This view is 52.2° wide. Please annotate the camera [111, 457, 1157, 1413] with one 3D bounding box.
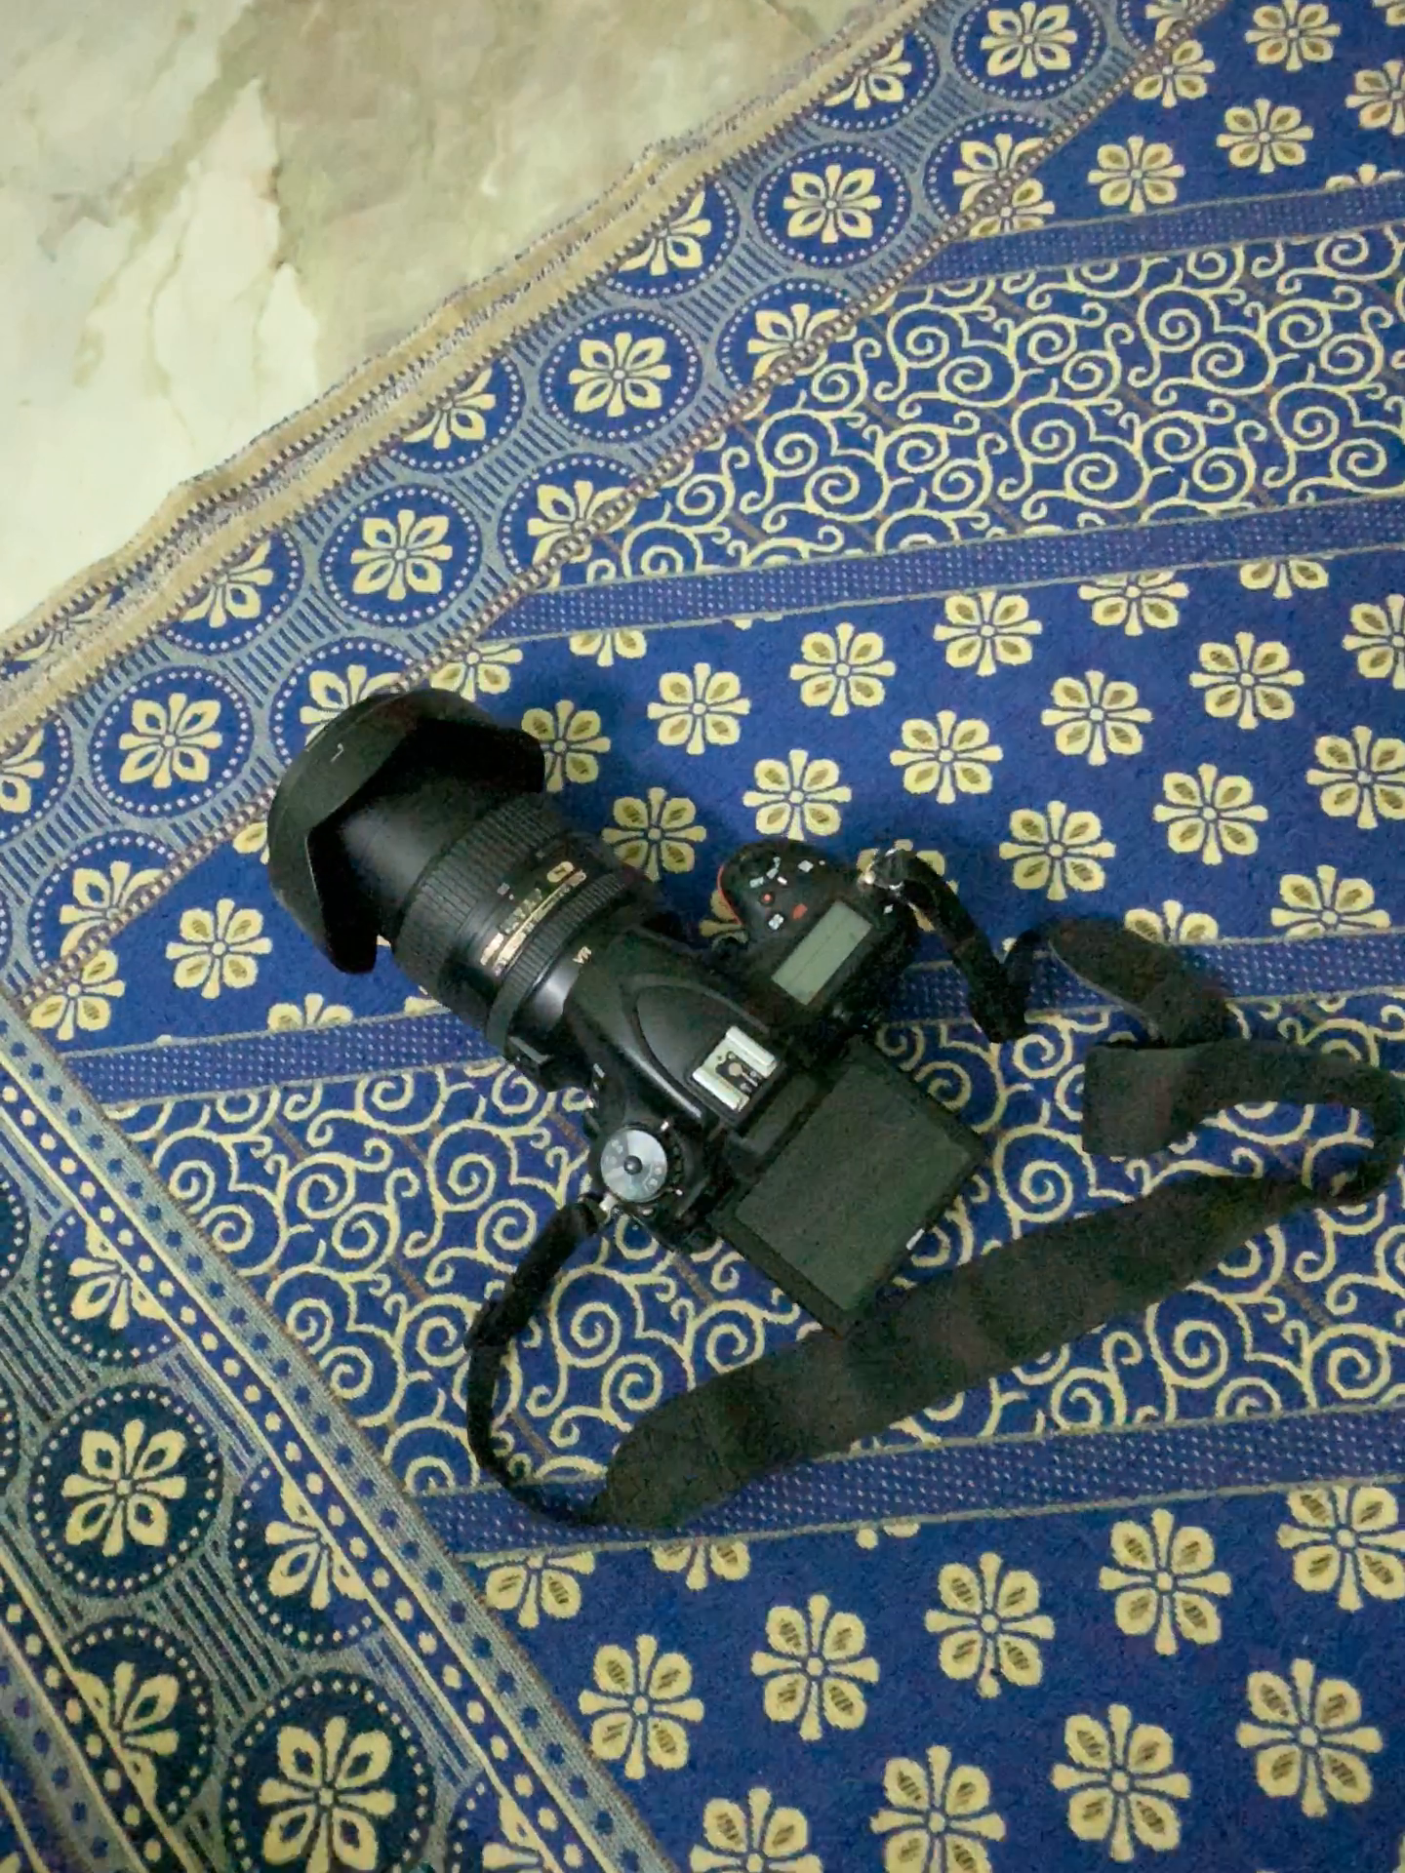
[{"bbox_3d":[-0.028,-0.004,0.516,0.320,0.110,0.160,39,81,17],"label":"camera"}]
